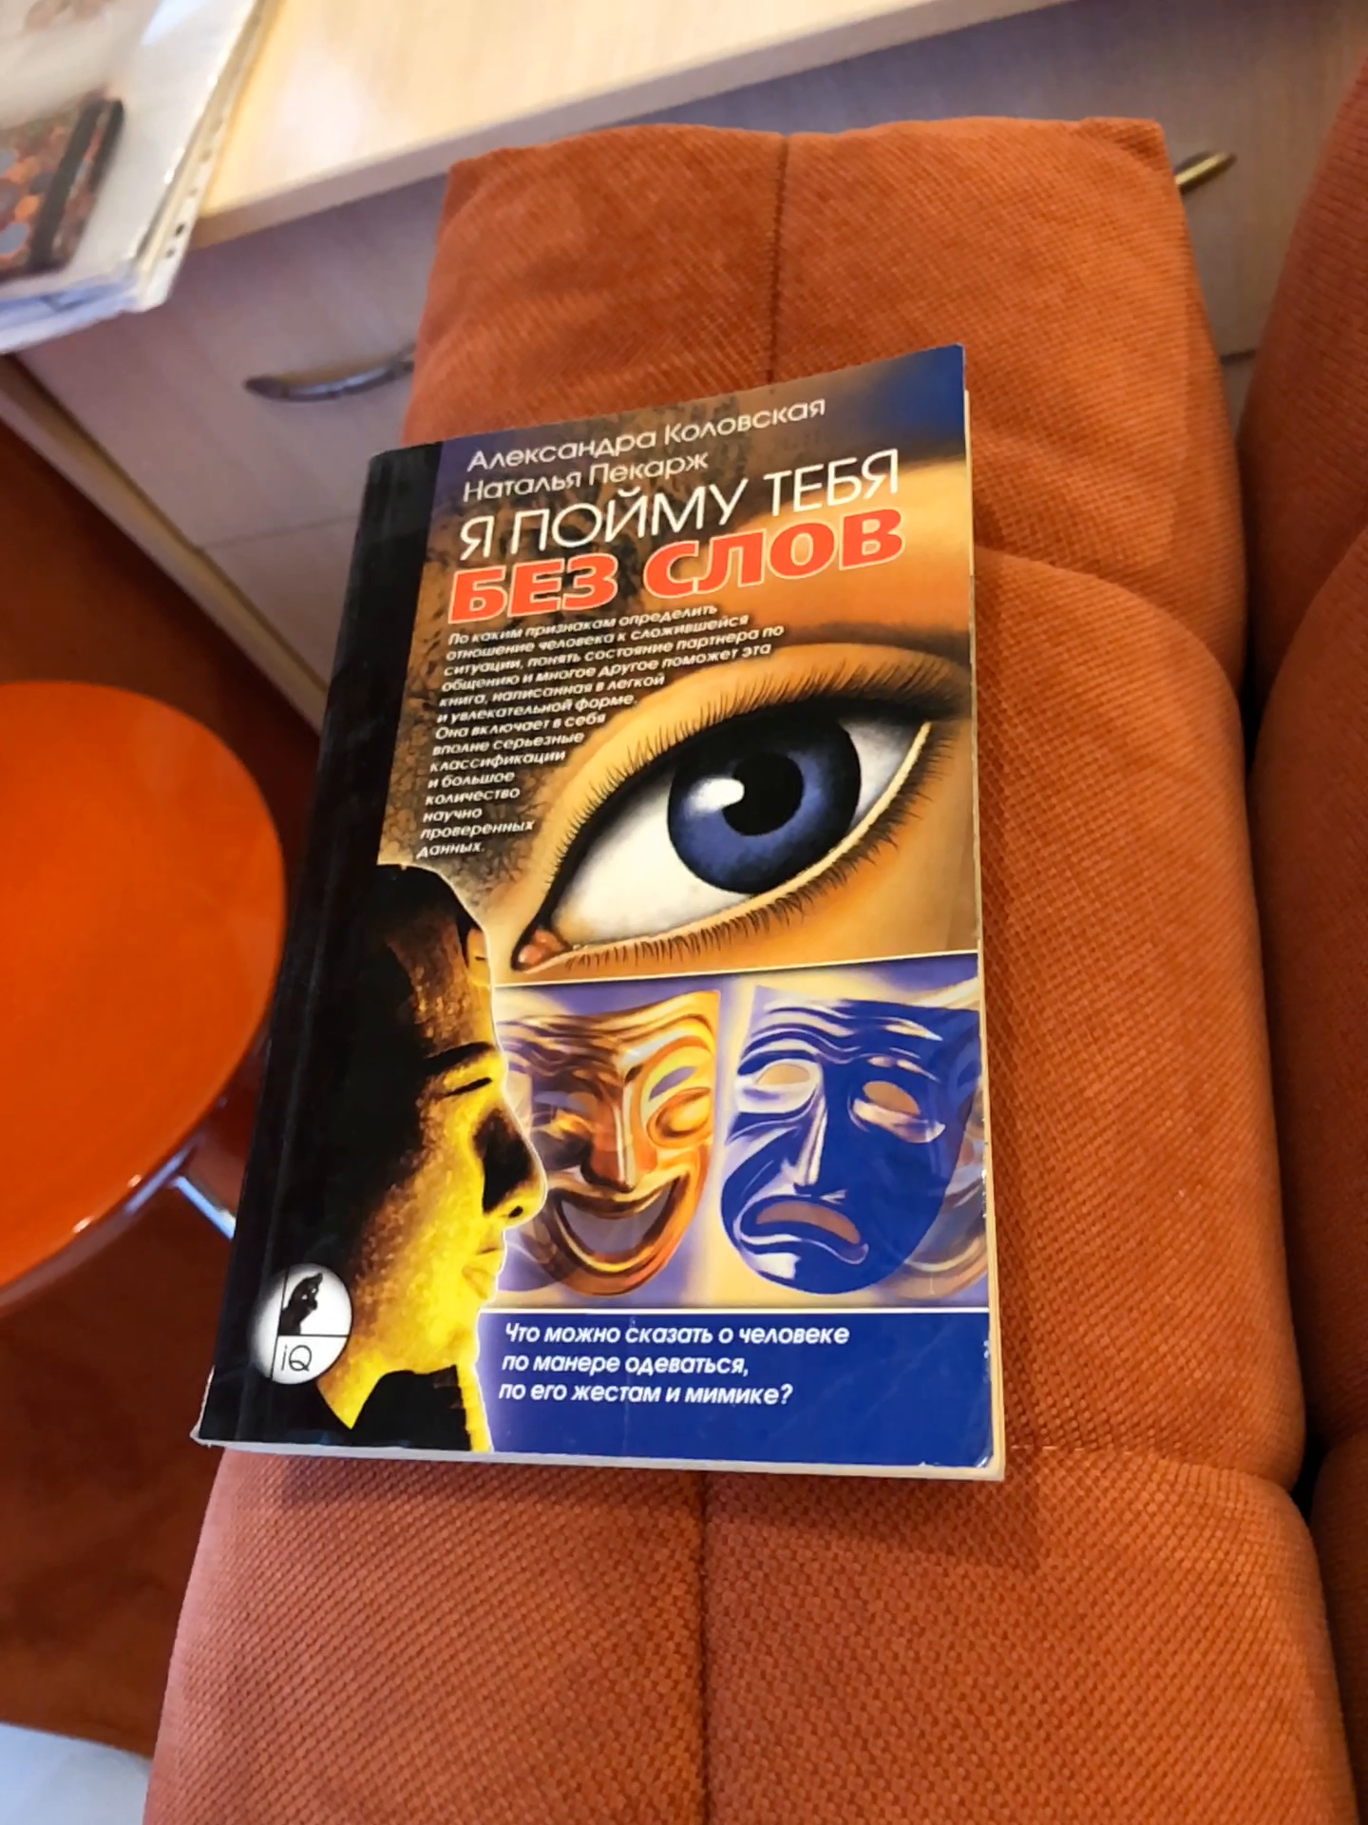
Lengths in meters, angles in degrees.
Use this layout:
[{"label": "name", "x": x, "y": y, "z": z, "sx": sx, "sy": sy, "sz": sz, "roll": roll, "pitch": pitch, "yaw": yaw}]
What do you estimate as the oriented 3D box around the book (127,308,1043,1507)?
[{"label": "book", "x": -0.011, "y": -0.006, "z": 0.255, "sx": 0.128, "sy": 0.030, "sz": 0.191, "roll": -5, "pitch": 64, "yaw": 18}]
